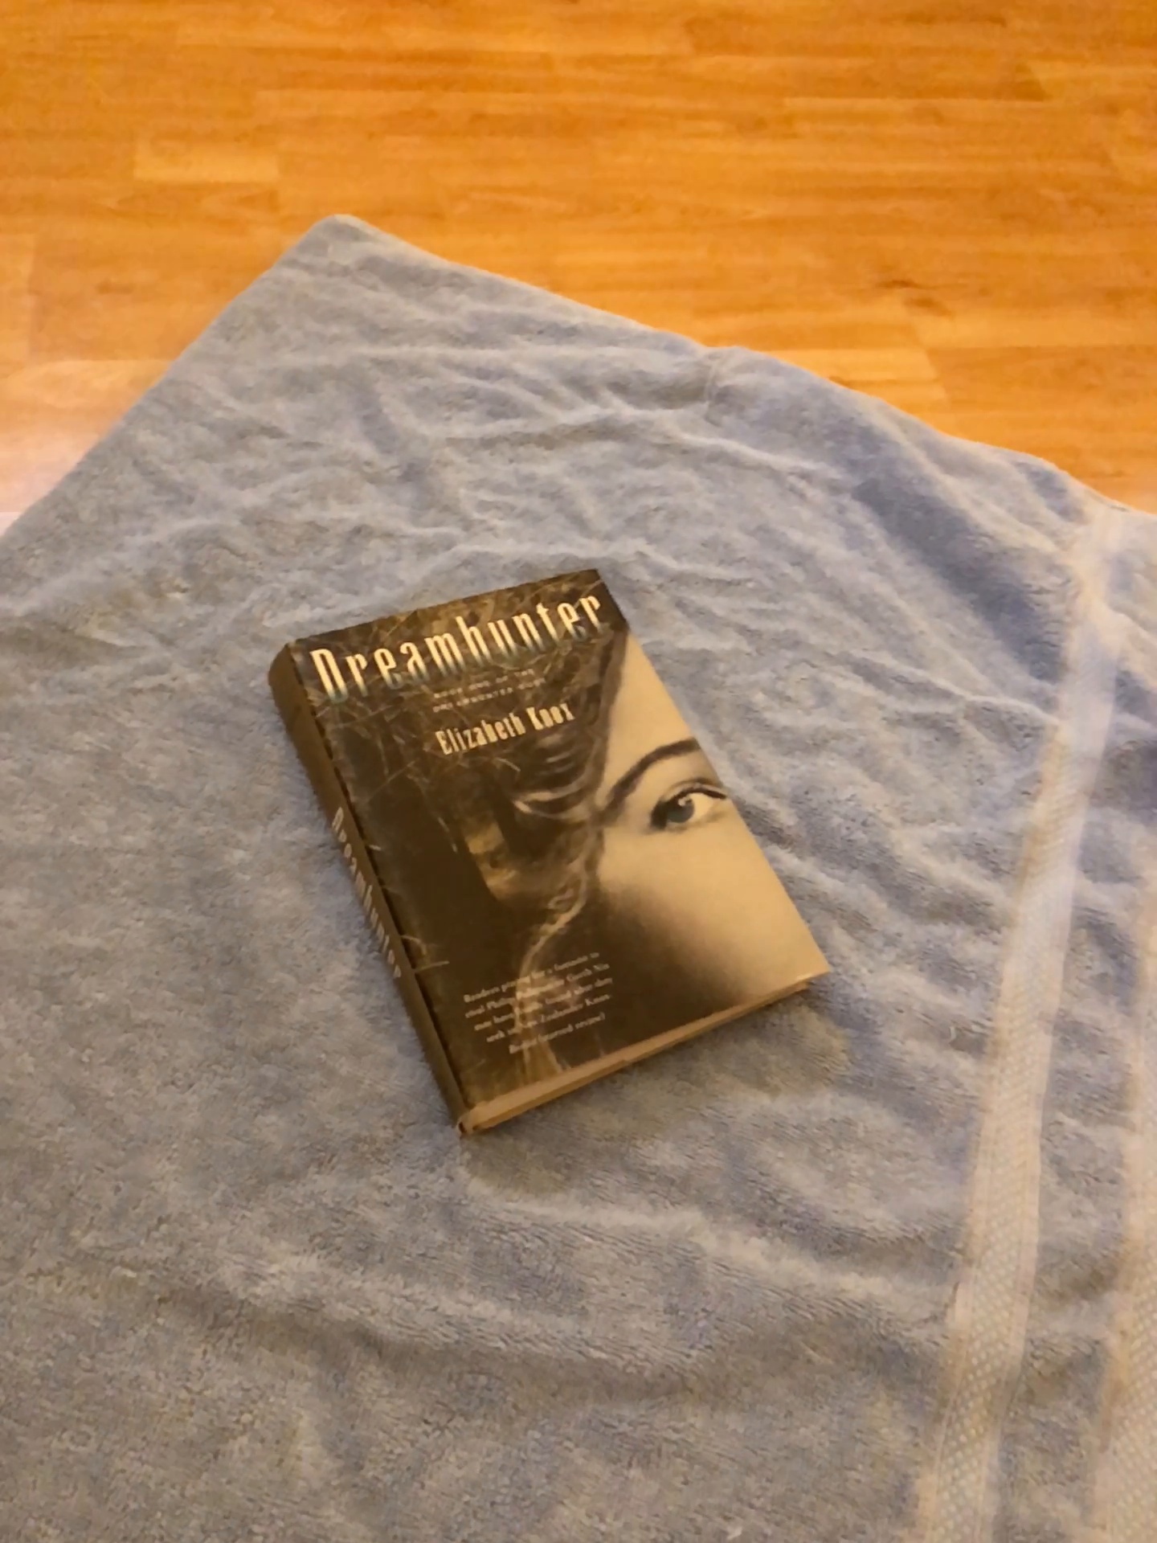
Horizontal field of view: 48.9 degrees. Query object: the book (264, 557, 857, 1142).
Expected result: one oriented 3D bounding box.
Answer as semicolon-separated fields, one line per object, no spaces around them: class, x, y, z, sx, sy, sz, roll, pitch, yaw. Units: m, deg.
book;-0.016;0.016;0.528;0.163;0.030;0.225;-17;58;-19
